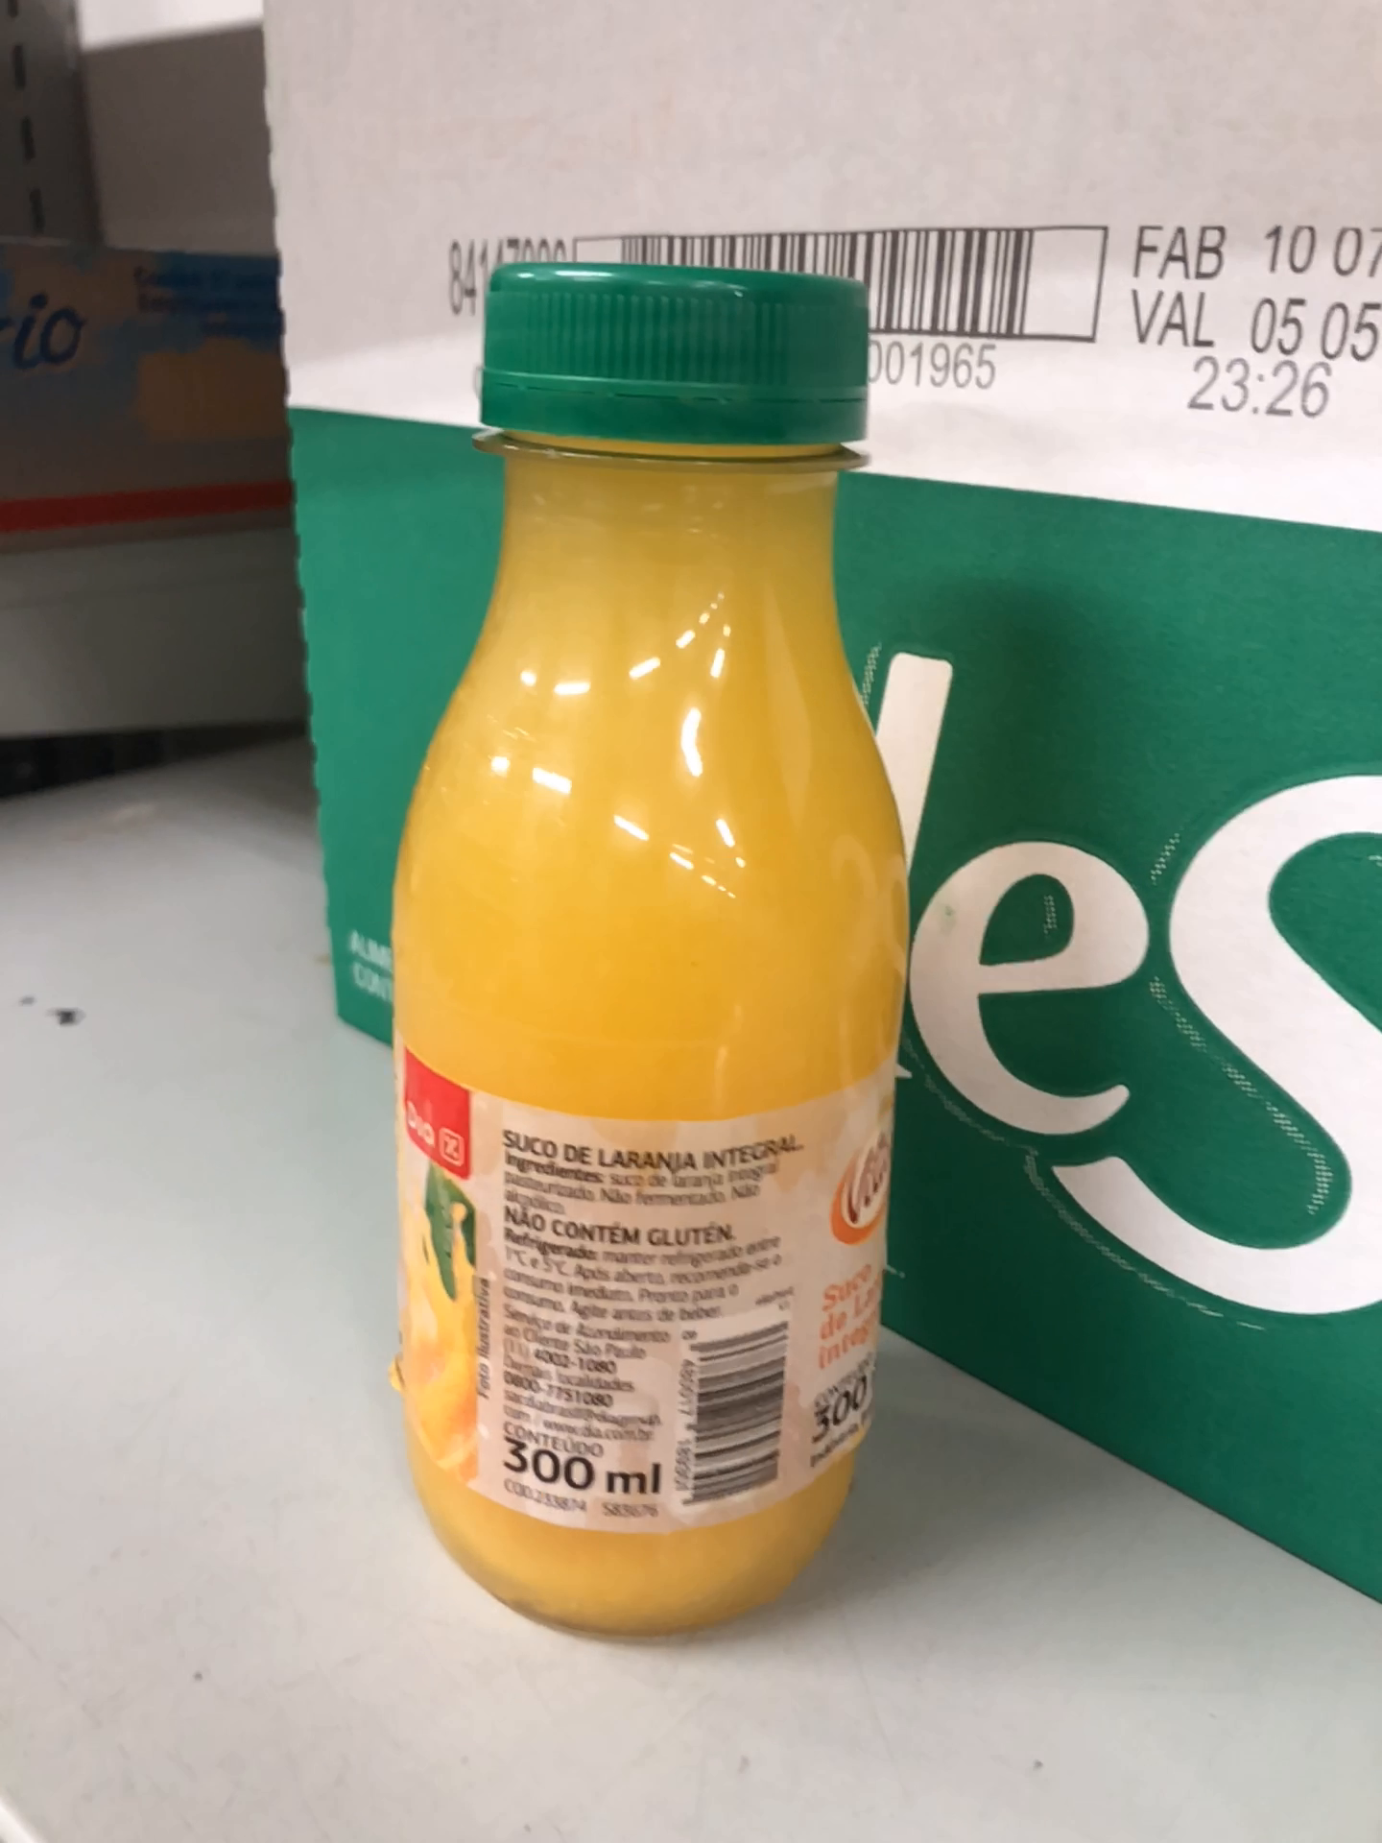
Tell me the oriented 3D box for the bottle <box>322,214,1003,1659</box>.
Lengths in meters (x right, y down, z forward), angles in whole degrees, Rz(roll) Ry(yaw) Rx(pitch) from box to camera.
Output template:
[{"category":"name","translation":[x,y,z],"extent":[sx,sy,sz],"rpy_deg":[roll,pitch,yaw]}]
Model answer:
[{"category":"bottle","translation":[-0.007,0.001,0.196],"extent":[0.060,0.159,0.070],"rpy_deg":[-2,21,-7]}]
